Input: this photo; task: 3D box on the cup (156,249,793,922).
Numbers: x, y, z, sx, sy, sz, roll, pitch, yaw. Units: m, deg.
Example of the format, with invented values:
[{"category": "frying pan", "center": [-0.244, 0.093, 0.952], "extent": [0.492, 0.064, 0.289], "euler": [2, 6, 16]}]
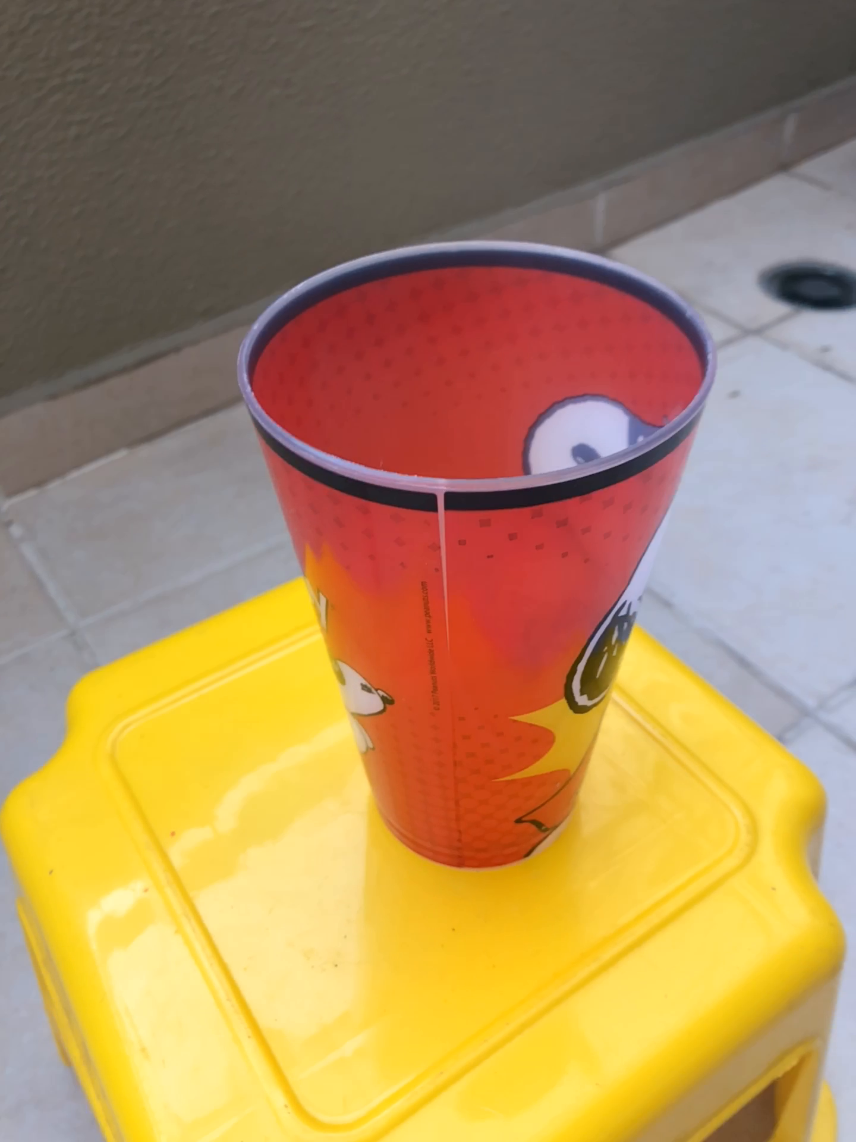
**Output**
[{"category": "cup", "center": [0.009, 0.007, 0.250], "extent": [0.110, 0.139, 0.101], "euler": [-2, 43, 1]}]
